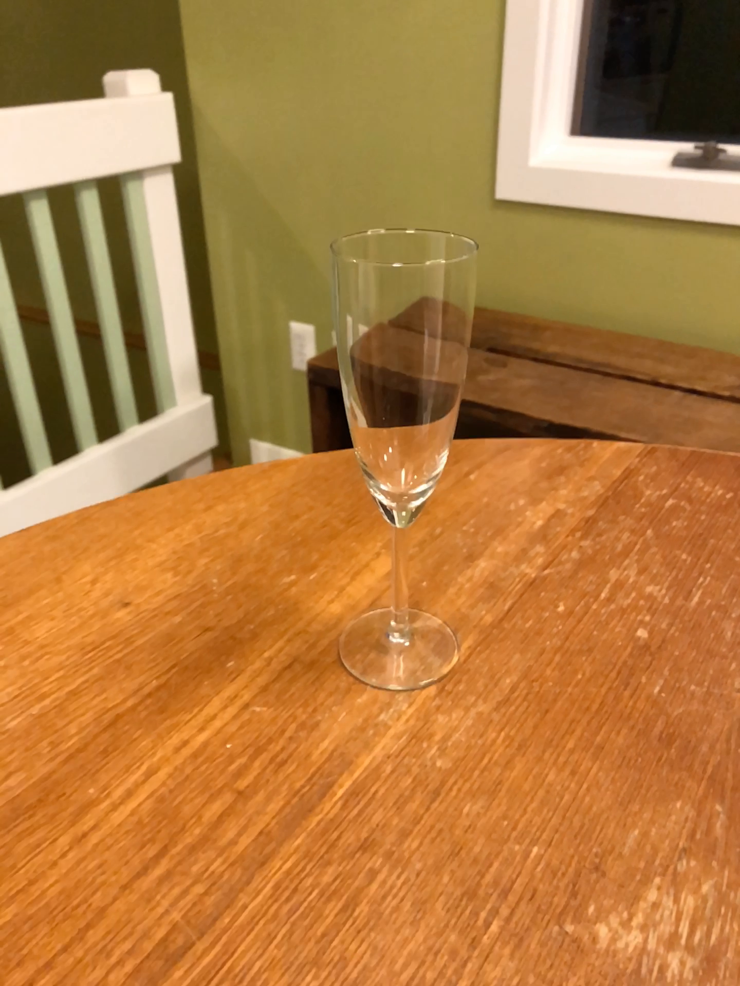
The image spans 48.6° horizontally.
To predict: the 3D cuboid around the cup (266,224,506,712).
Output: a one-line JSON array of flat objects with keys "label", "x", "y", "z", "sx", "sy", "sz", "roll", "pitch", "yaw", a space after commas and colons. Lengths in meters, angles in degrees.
[{"label": "cup", "x": 0.010, "y": -0.010, "z": 0.395, "sx": 0.070, "sy": 0.211, "sz": 0.077, "roll": 18, "pitch": 35, "yaw": 31}]
